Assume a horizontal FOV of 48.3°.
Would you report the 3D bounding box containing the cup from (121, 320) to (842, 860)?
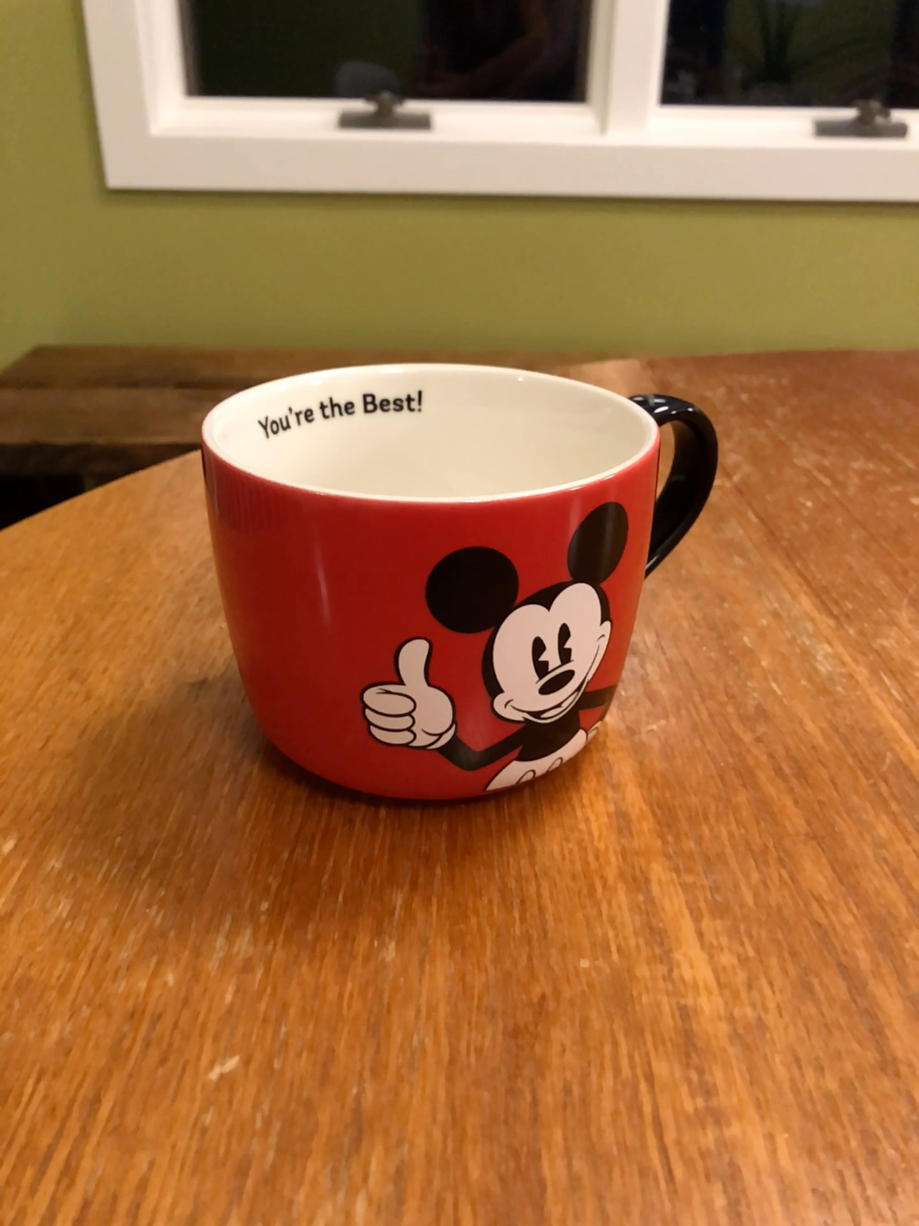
[{"bbox_3d":[0.008,-0.022,0.262,0.143,0.069,0.103,-23,35,-37],"label":"cup"}]
